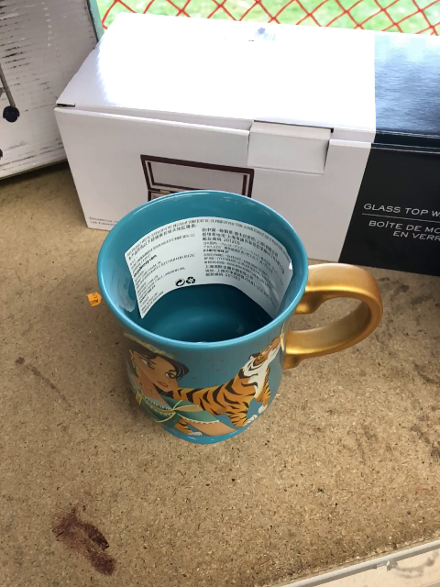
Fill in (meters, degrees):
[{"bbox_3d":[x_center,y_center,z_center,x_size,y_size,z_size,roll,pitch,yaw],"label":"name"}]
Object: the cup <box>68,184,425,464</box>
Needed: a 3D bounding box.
[{"bbox_3d":[0.010,0.021,0.270,0.140,0.120,0.098,-2,52,-1],"label":"cup"}]
